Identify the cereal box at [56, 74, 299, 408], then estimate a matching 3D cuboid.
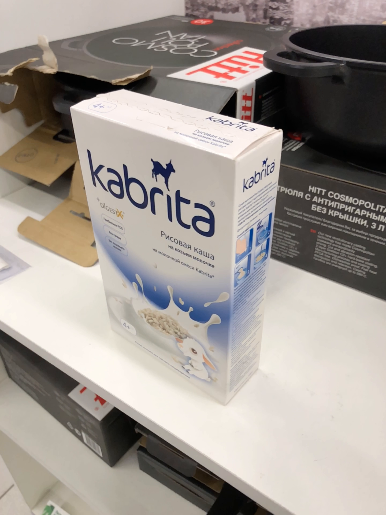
[{"bbox_3d":[-0.012,-0.009,0.319,0.140,0.209,0.060,25,45,31],"label":"cereal box"}]
